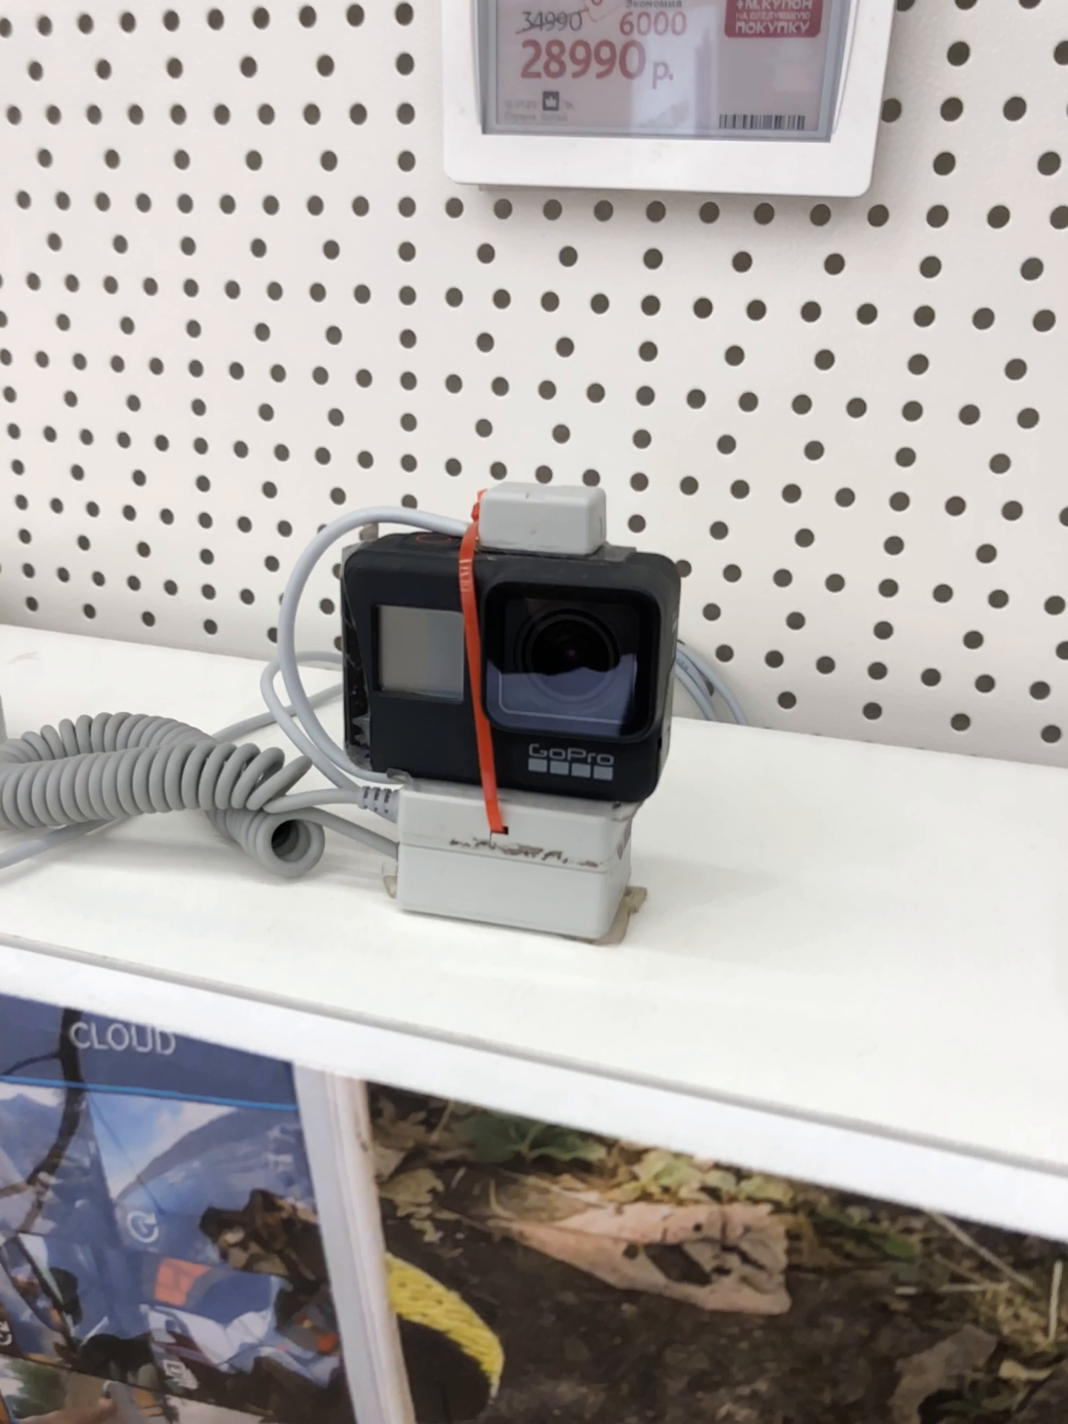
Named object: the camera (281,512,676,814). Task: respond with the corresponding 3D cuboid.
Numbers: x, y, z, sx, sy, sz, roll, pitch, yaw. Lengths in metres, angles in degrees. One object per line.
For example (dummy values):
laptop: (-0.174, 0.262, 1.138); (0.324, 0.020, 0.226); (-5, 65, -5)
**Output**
camera: (-0.010, -0.011, 0.222); (0.066, 0.044, 0.029); (7, 20, 13)
